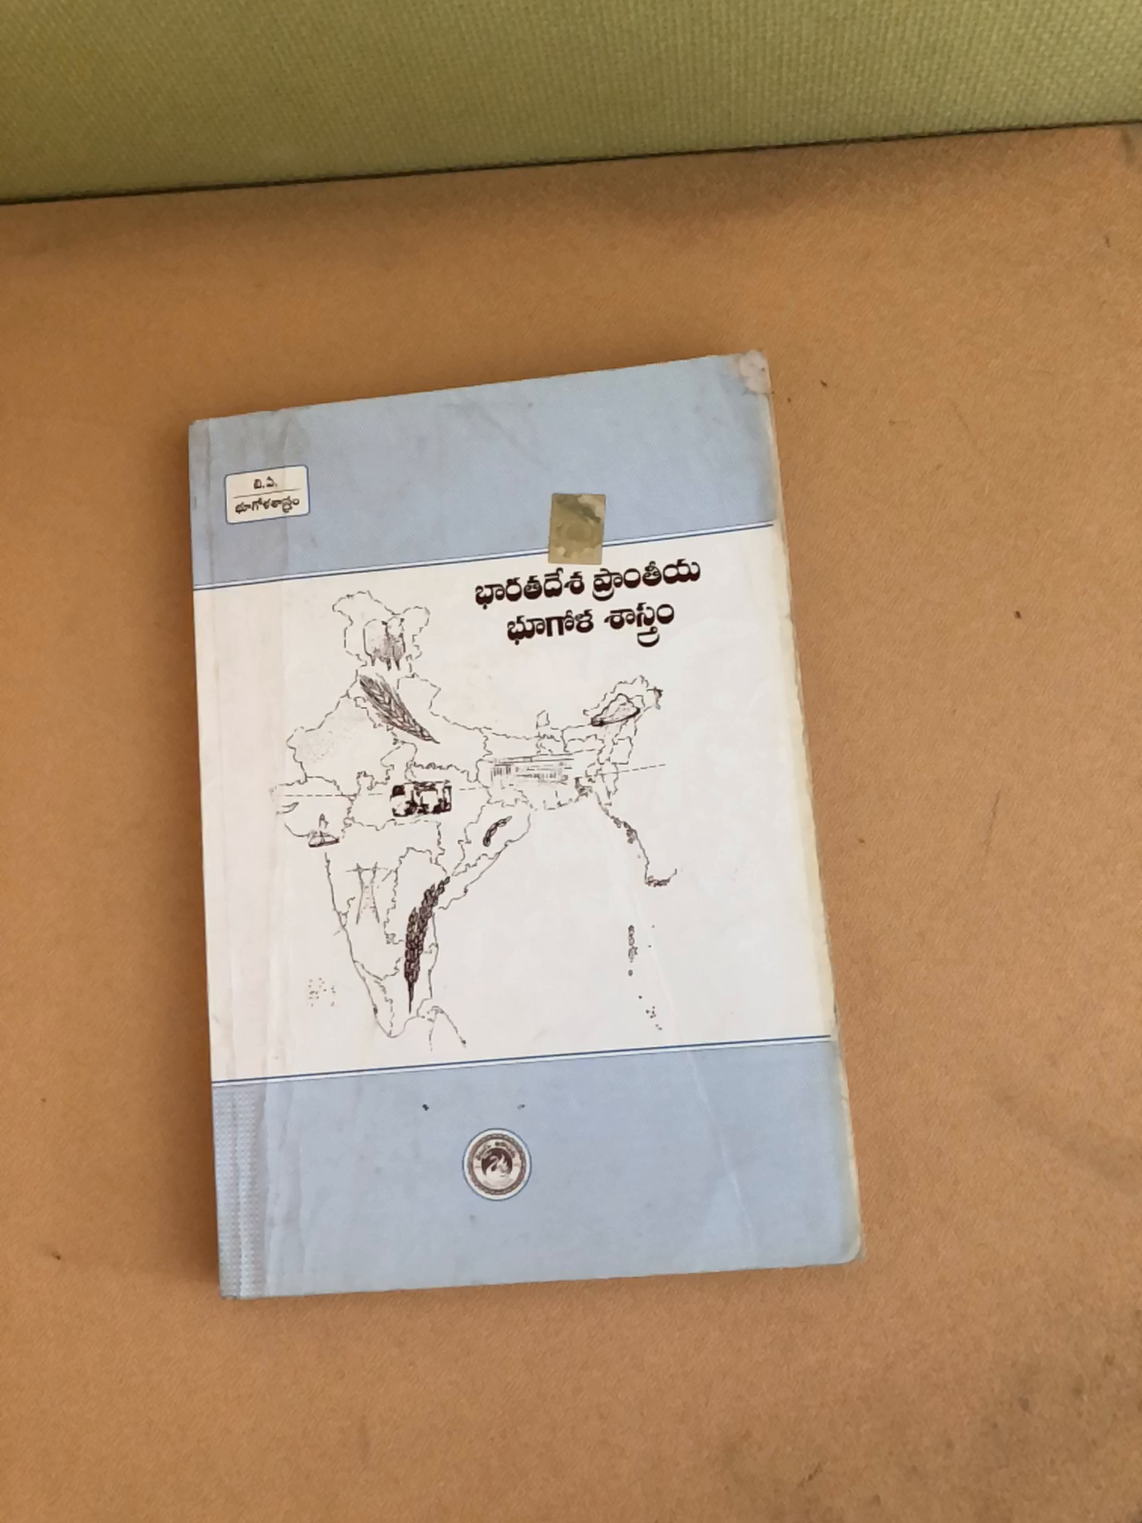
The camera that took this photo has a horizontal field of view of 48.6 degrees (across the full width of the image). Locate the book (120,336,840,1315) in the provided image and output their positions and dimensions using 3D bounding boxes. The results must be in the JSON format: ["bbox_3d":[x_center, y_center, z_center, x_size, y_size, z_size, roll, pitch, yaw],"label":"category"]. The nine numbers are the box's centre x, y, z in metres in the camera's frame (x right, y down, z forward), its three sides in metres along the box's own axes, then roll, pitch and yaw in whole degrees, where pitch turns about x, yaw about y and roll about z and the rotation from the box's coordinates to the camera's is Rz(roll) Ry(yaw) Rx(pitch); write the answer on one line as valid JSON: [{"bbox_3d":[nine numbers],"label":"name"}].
[{"bbox_3d":[-0.031,0.015,0.356,0.180,0.030,0.250,-5,81,5],"label":"book"}]
